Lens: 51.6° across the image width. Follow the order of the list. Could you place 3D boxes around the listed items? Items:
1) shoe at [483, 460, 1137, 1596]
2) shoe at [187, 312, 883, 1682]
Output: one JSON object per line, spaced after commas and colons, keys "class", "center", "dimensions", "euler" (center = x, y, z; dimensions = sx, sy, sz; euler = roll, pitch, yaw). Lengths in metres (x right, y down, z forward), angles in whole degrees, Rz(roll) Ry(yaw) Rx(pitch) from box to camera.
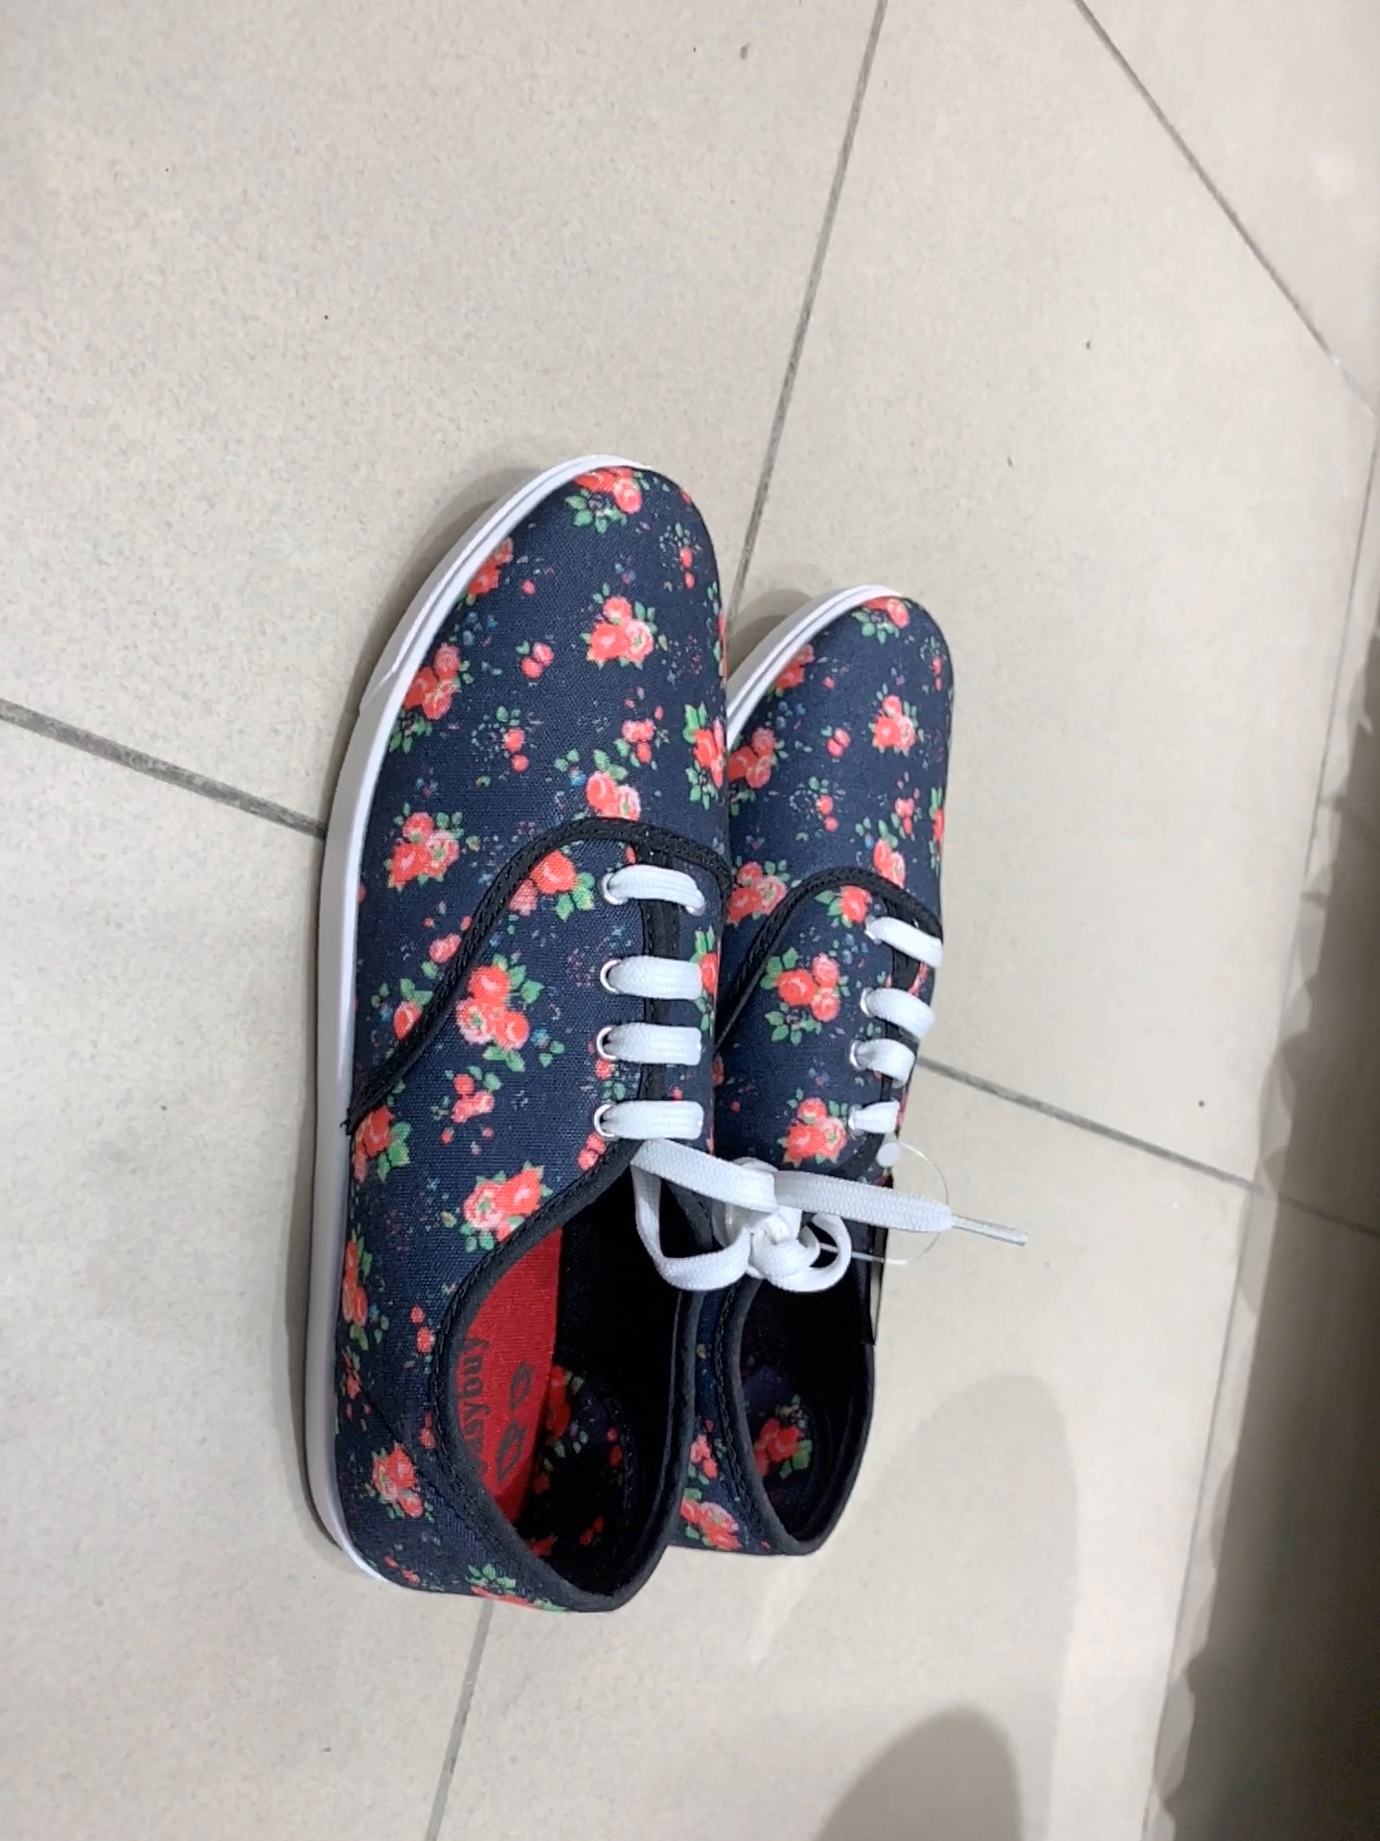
{"class": "shoe", "center": [0.039, 0.029, 0.393], "dimensions": [0.101, 0.080, 0.270], "euler": [21, 78, -42]}
{"class": "shoe", "center": [-0.033, 0.016, 0.342], "dimensions": [0.101, 0.080, 0.270], "euler": [12, 84, -43]}
